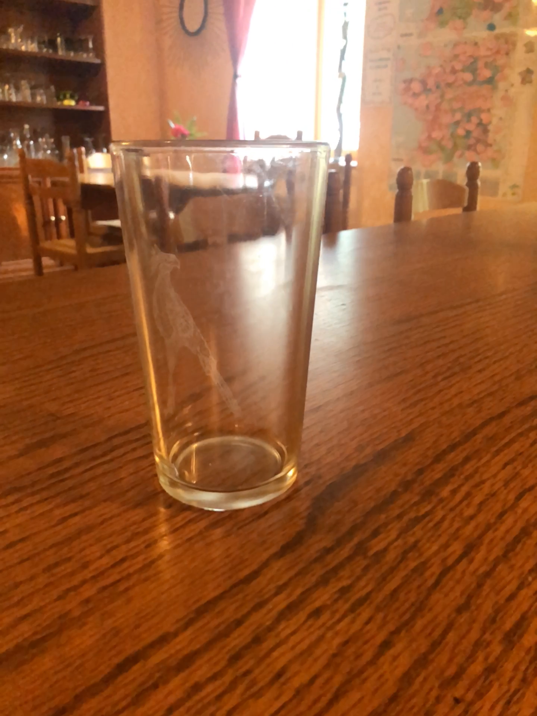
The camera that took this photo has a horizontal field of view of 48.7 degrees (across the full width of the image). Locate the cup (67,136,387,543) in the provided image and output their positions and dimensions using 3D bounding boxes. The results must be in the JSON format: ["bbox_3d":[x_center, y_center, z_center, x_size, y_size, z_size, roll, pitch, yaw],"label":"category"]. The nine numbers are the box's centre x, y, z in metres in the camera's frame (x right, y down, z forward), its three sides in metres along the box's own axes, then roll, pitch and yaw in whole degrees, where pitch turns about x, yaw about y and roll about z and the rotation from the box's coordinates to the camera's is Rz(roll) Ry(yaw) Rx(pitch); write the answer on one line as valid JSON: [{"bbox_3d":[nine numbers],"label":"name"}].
[{"bbox_3d":[-0.015,-0.020,0.261,0.089,0.144,0.092,0,19,0],"label":"cup"}]
